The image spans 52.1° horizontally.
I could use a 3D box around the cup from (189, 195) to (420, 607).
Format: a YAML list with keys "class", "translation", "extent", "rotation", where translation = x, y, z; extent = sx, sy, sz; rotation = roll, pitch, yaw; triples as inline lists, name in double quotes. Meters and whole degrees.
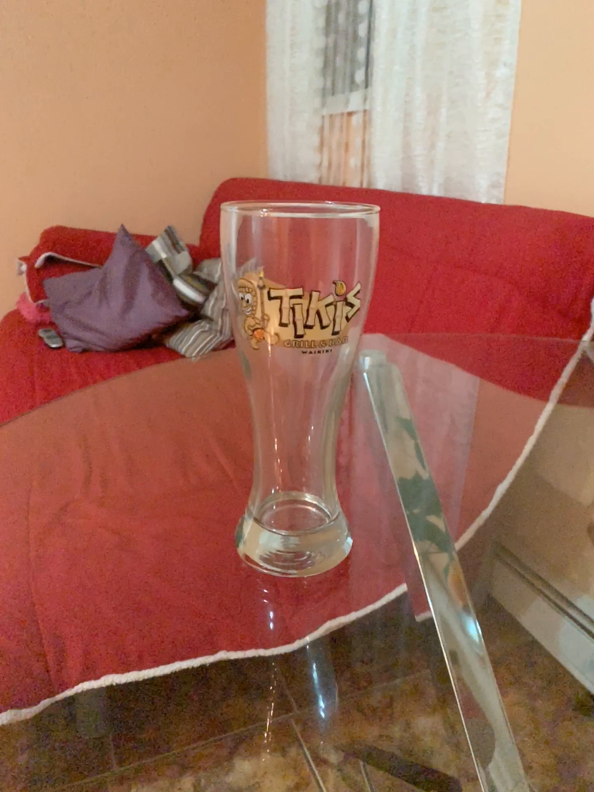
- class: "cup"
  translation: [-0.006, -0.004, 0.360]
  extent: [0.093, 0.211, 0.100]
  rotation: [2, 20, -1]
